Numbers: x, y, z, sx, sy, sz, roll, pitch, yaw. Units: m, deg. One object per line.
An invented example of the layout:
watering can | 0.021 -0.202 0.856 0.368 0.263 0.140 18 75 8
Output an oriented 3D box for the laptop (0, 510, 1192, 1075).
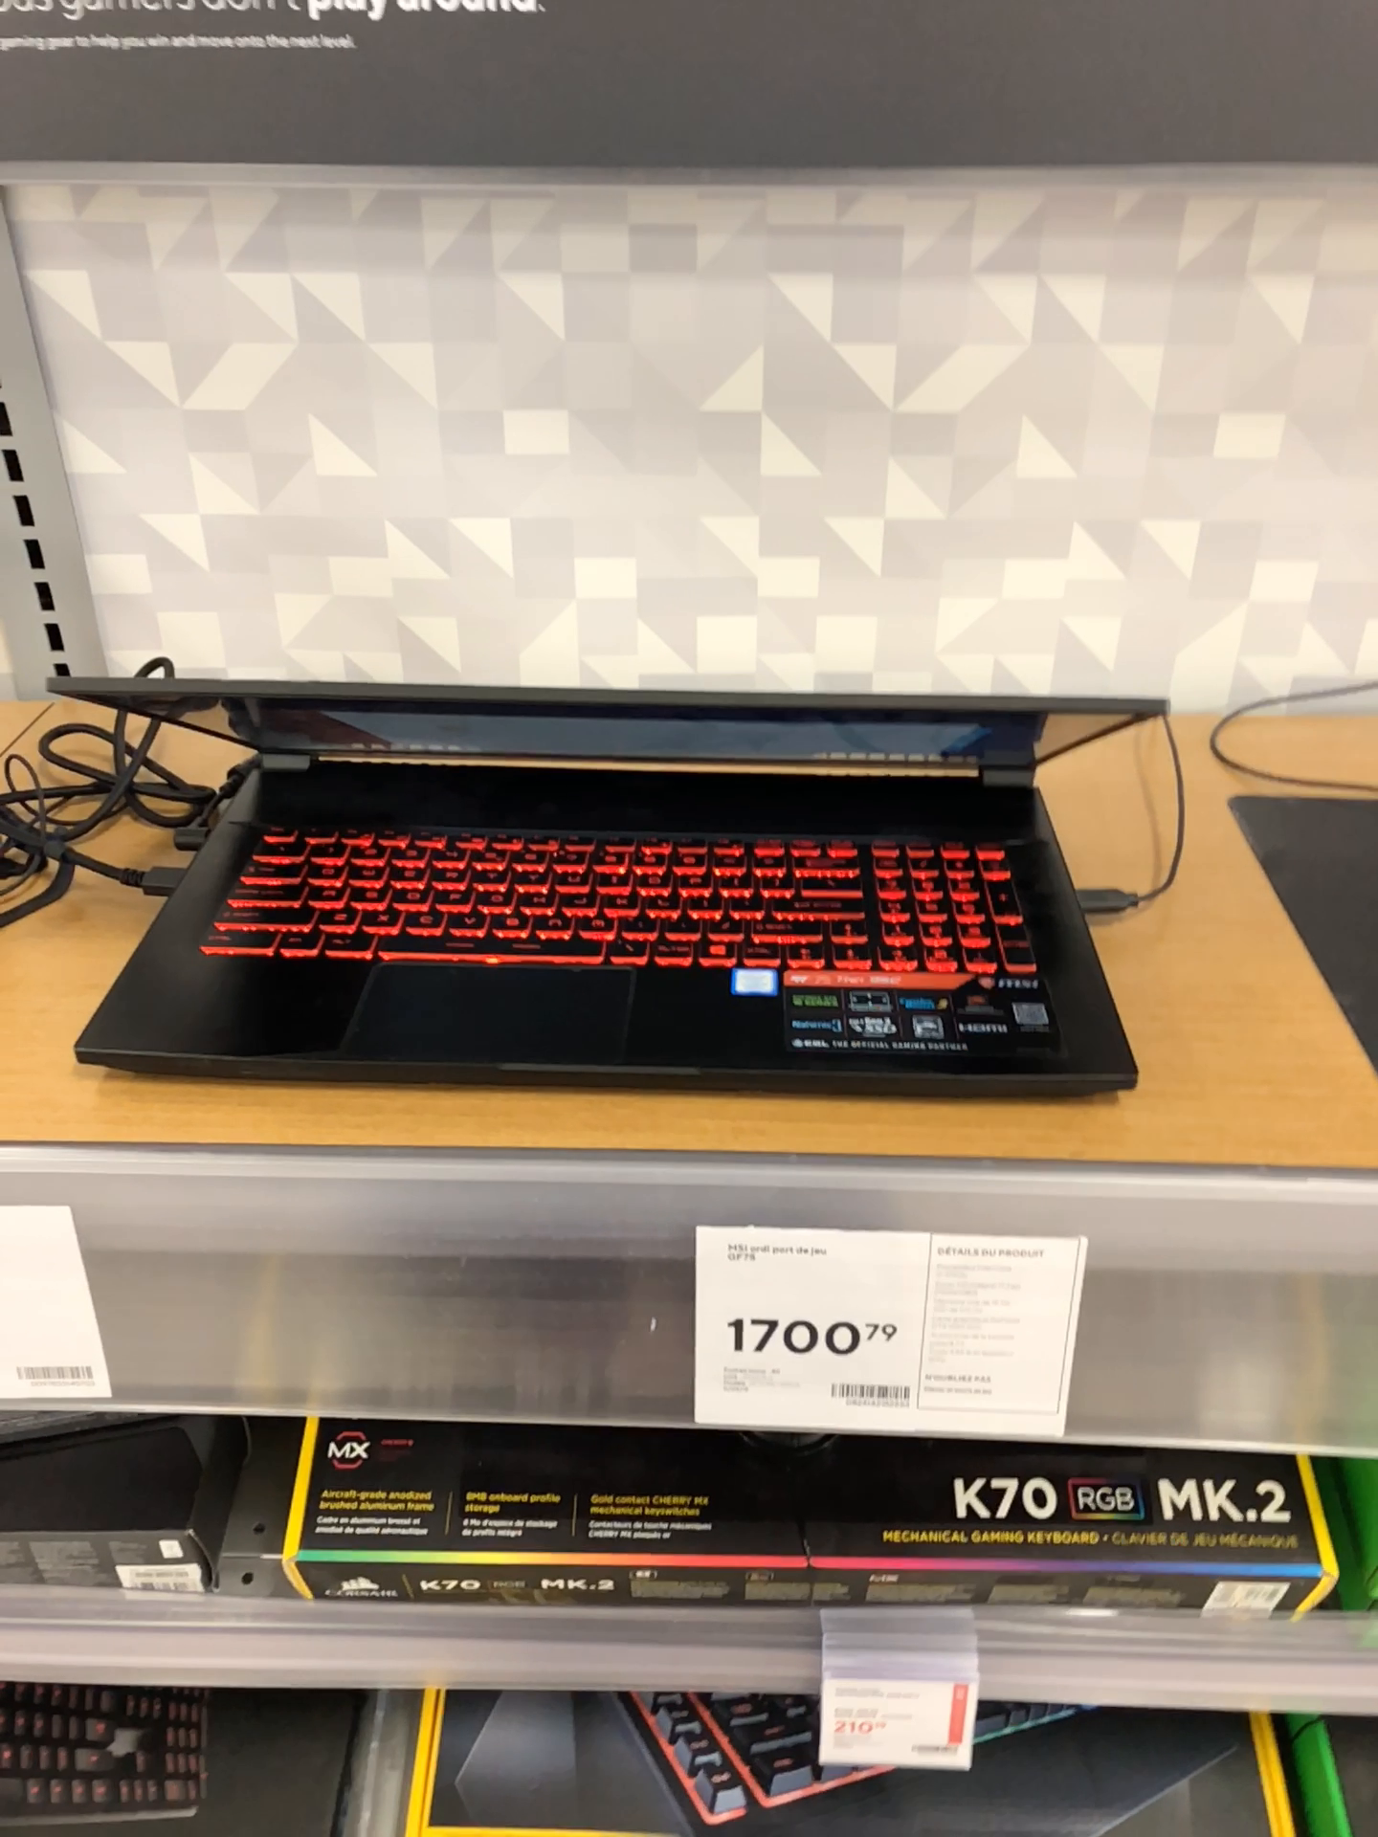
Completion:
laptop | -0.028 -0.067 0.636 0.393 0.133 0.249 1 32 2
